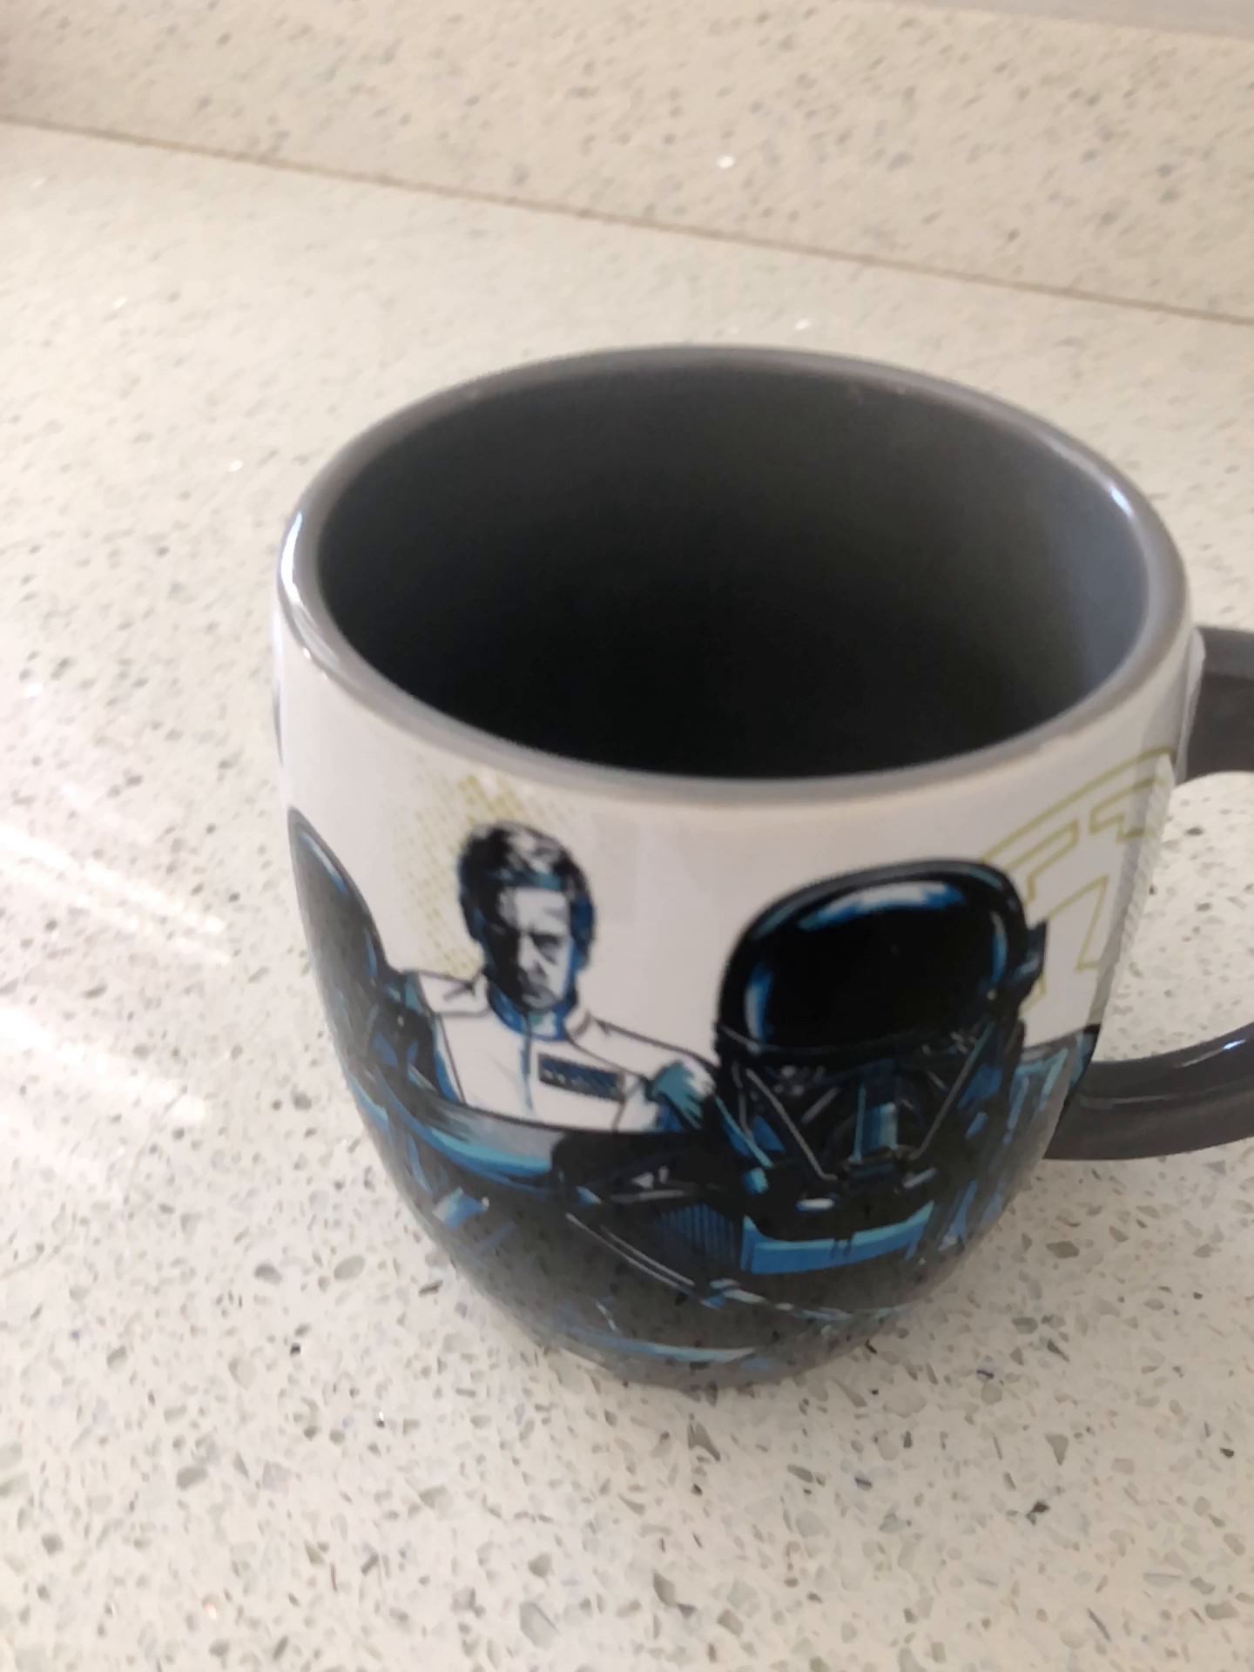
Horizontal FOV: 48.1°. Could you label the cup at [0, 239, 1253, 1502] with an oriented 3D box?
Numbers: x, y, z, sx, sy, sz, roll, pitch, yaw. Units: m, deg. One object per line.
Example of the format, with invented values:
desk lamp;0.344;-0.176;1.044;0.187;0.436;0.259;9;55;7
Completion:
cup;0.025;-0.001;0.165;0.140;0.100;0.100;3;40;5
